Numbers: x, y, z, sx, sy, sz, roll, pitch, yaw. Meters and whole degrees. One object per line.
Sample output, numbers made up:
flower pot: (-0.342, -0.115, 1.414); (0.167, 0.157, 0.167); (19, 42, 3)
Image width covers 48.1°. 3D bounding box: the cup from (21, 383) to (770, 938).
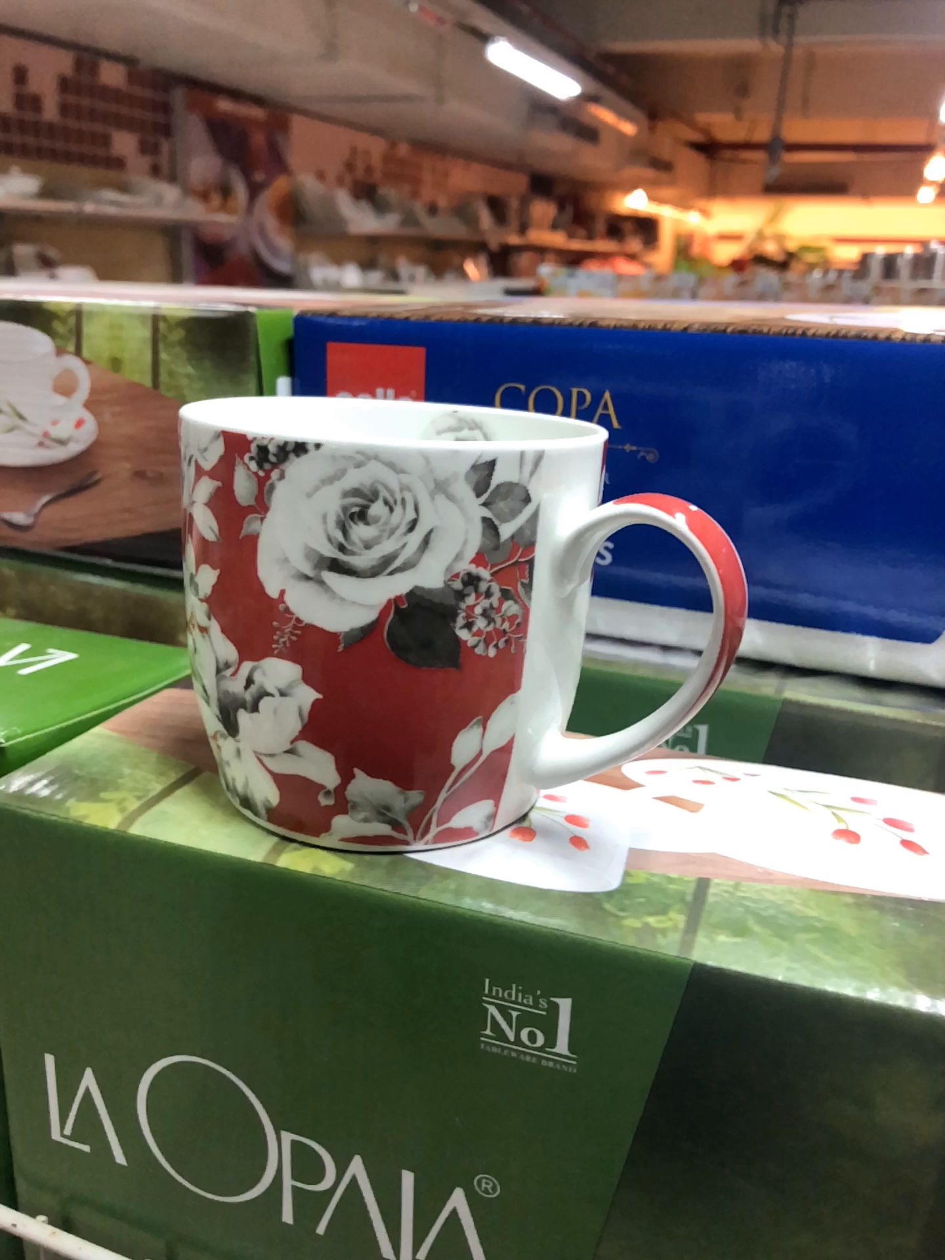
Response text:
cup: (-0.010, -0.008, 0.206); (0.110, 0.070, 0.090); (10, 16, 22)
